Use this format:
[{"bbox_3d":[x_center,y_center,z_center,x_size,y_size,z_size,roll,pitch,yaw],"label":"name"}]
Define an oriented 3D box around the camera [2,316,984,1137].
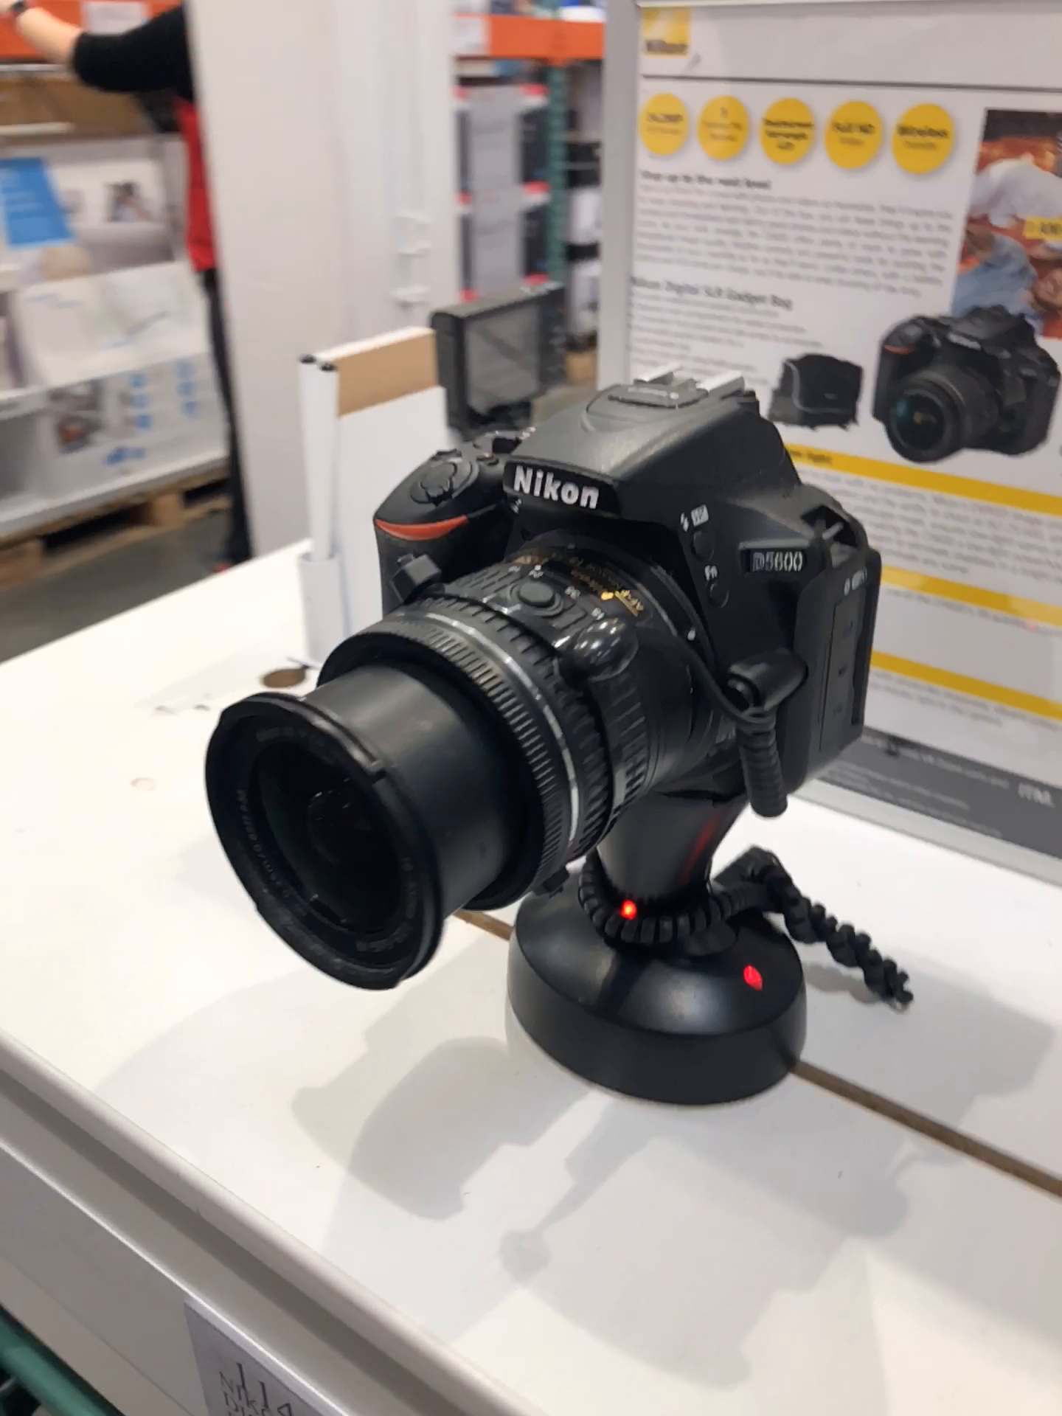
[{"bbox_3d":[-0.001,-0.020,0.275,0.140,0.099,0.161,20,35,33],"label":"camera"}]
